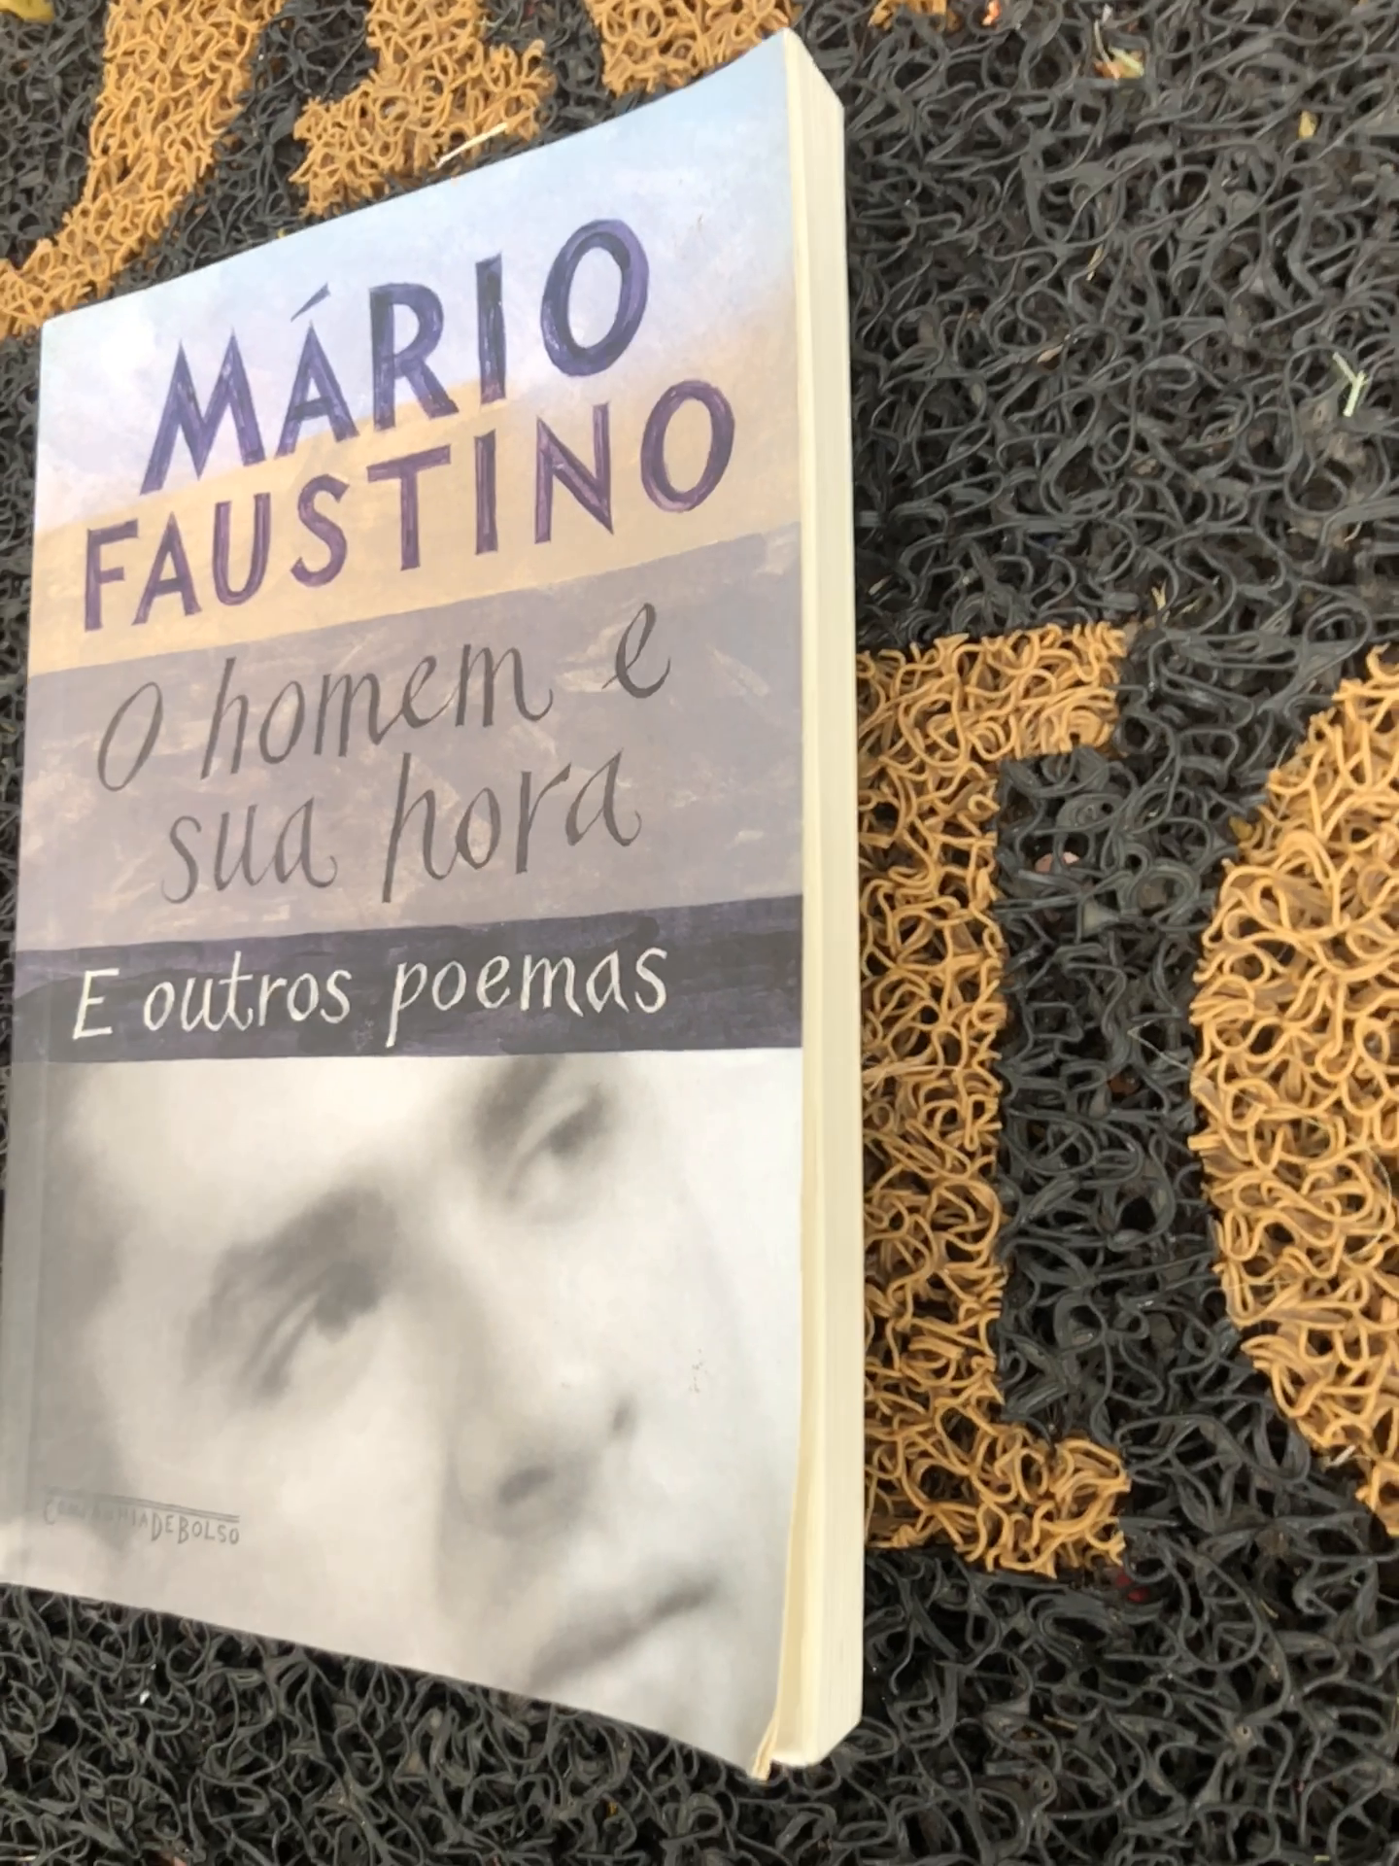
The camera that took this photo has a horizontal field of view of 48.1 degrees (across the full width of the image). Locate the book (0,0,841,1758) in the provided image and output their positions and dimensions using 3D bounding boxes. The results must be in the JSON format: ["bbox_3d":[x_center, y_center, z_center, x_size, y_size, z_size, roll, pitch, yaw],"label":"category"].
[{"bbox_3d":[-0.045,-0.010,0.187,0.124,0.020,0.174,-4,82,29],"label":"book"}]
